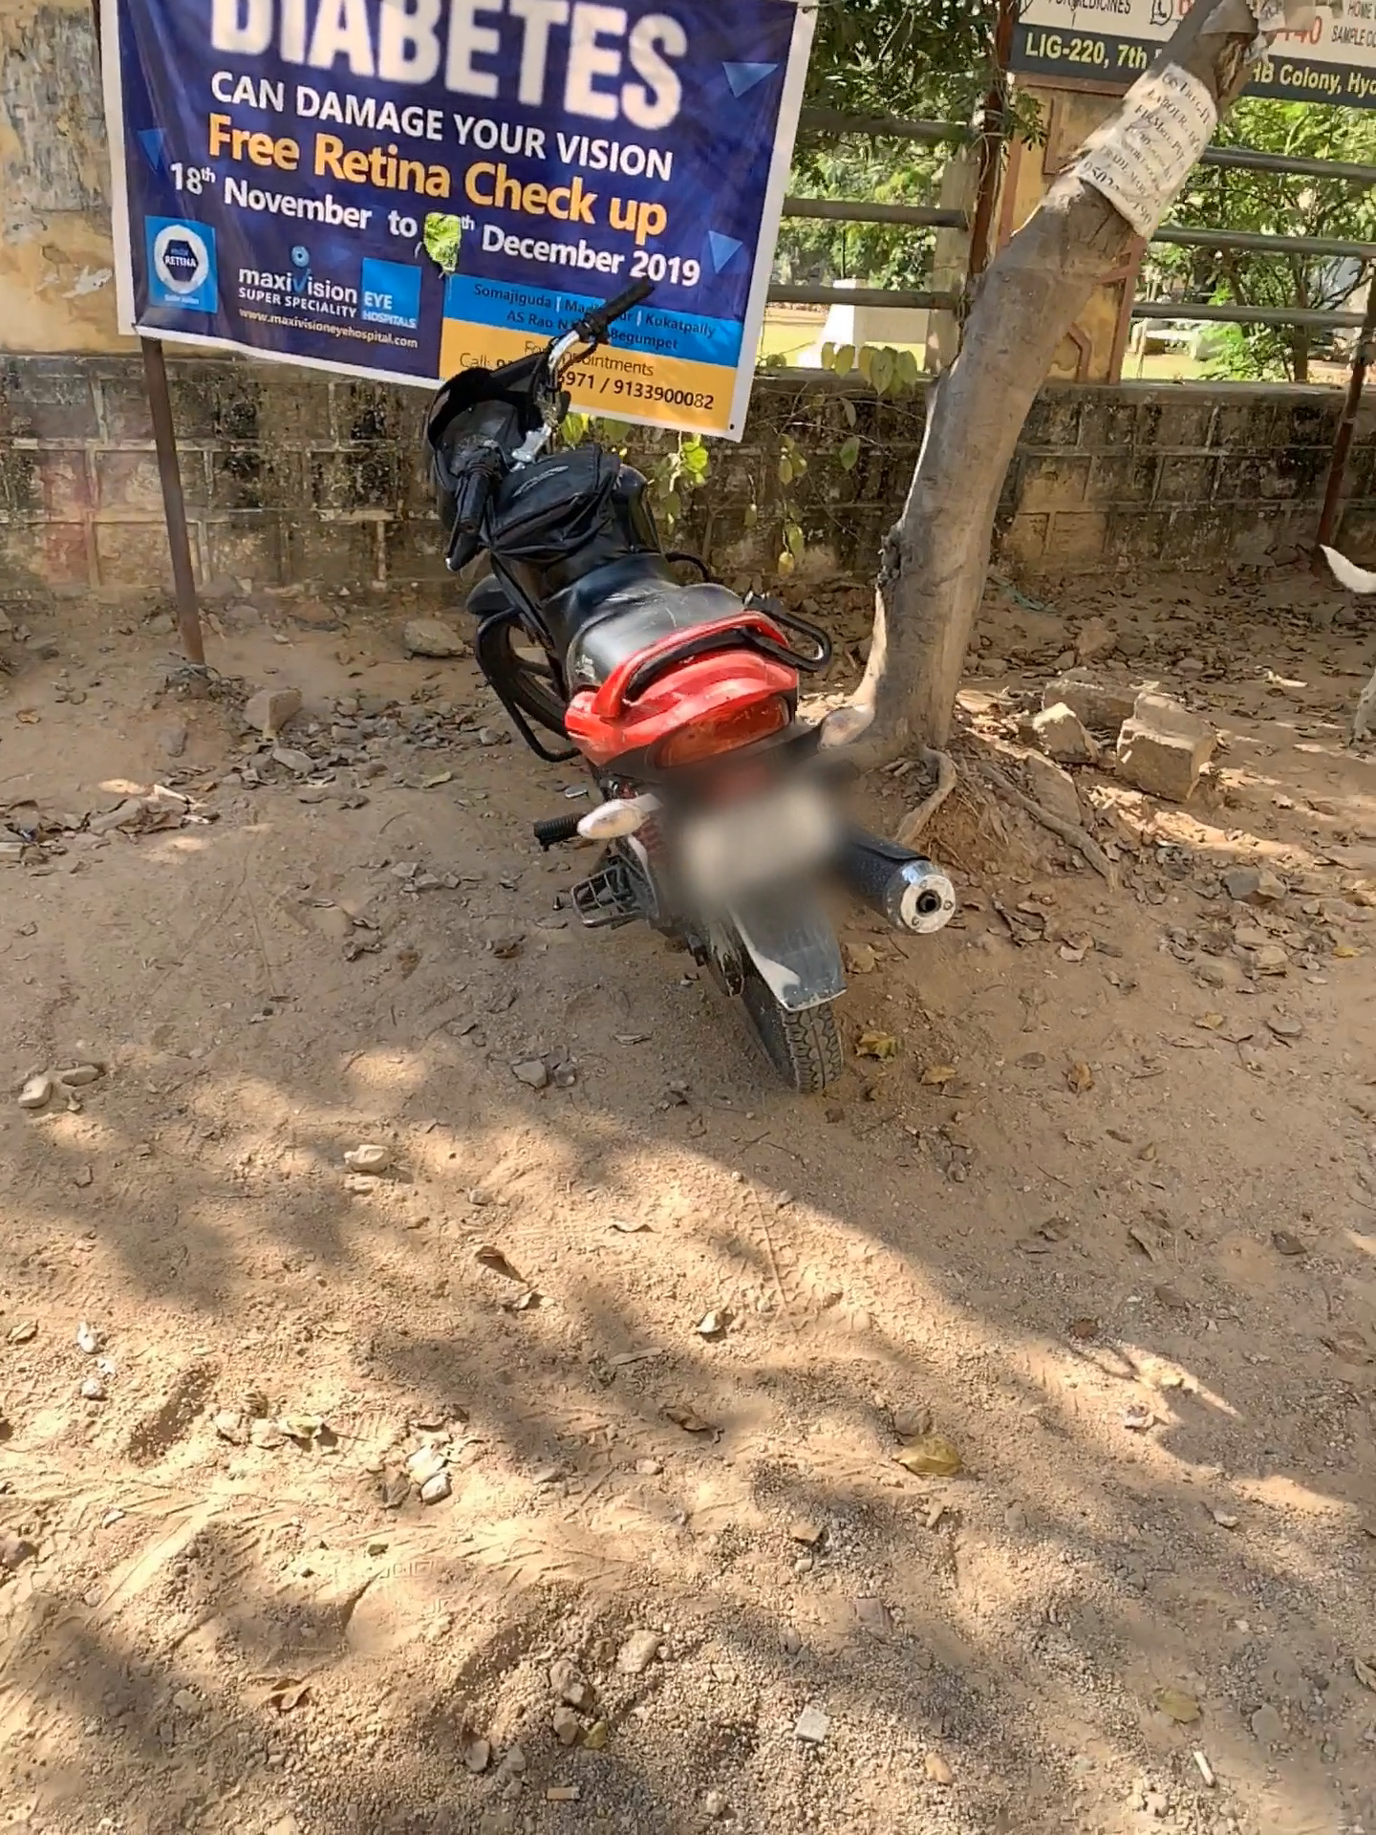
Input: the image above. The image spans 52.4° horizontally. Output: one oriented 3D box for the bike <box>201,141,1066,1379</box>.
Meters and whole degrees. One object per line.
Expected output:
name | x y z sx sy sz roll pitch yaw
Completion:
bike | -0.270 -0.443 2.465 0.752 1.441 1.622 -8 31 -23
